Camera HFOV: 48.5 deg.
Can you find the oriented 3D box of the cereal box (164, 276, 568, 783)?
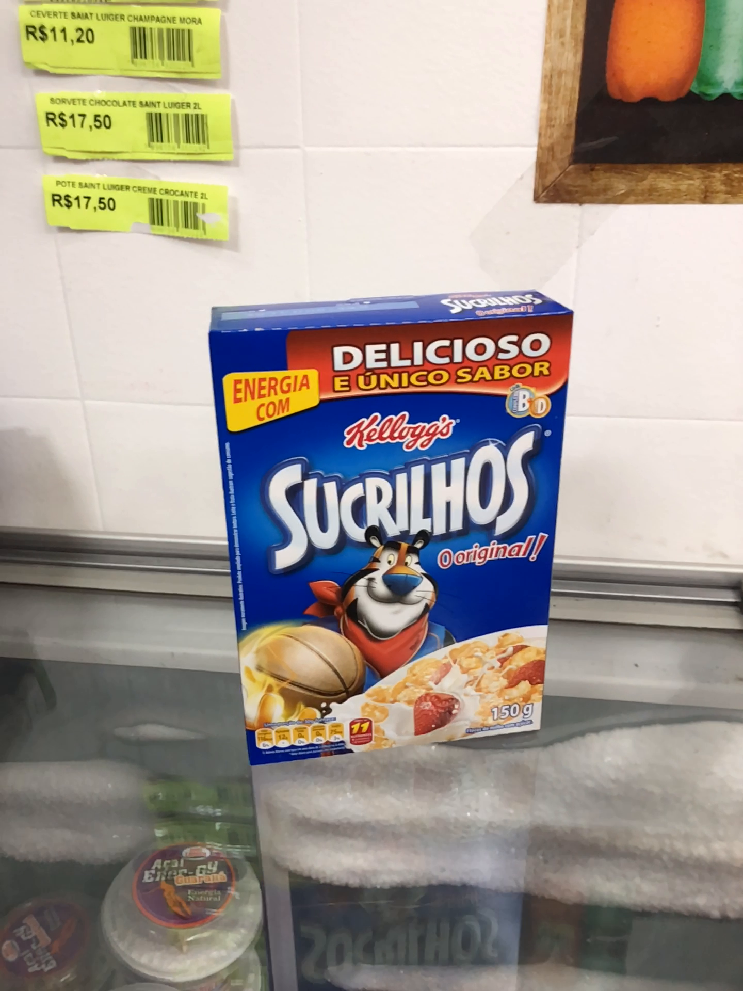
[{"bbox_3d":[-0.003,0.017,0.345,0.140,0.199,0.050,-5,25,-9],"label":"cereal box"}]
